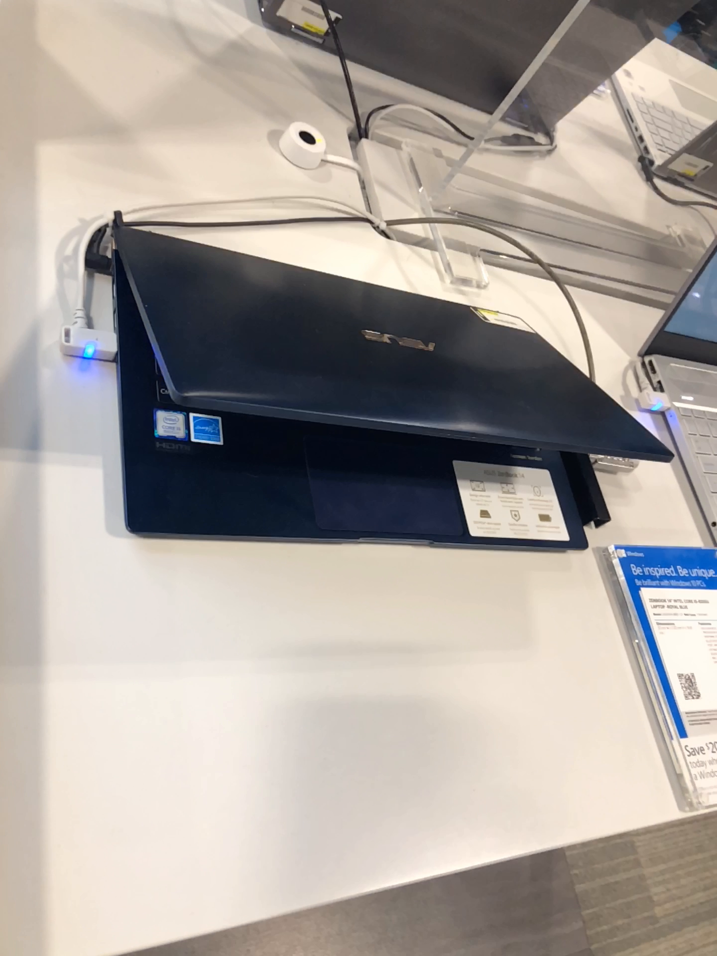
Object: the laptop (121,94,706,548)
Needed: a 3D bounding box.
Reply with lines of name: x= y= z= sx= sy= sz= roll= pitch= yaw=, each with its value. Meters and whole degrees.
laptop: x=0.032 y=-0.074 z=0.470 sx=0.310 sy=0.095 sz=0.203 roll=5 pitch=58 yaw=-31
